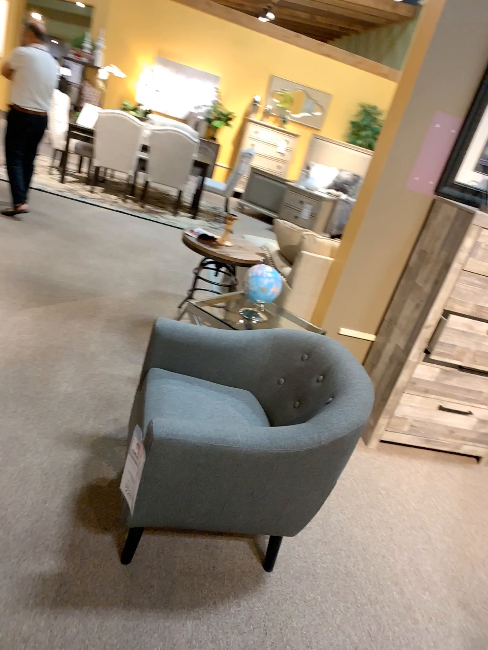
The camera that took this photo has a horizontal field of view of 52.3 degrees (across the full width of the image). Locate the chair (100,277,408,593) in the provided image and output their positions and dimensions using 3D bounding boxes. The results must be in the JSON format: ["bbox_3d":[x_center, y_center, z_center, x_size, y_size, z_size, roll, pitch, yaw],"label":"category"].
[{"bbox_3d":[-0.031,0.358,1.794,0.741,0.702,0.750,12,22,-13],"label":"chair"}]
